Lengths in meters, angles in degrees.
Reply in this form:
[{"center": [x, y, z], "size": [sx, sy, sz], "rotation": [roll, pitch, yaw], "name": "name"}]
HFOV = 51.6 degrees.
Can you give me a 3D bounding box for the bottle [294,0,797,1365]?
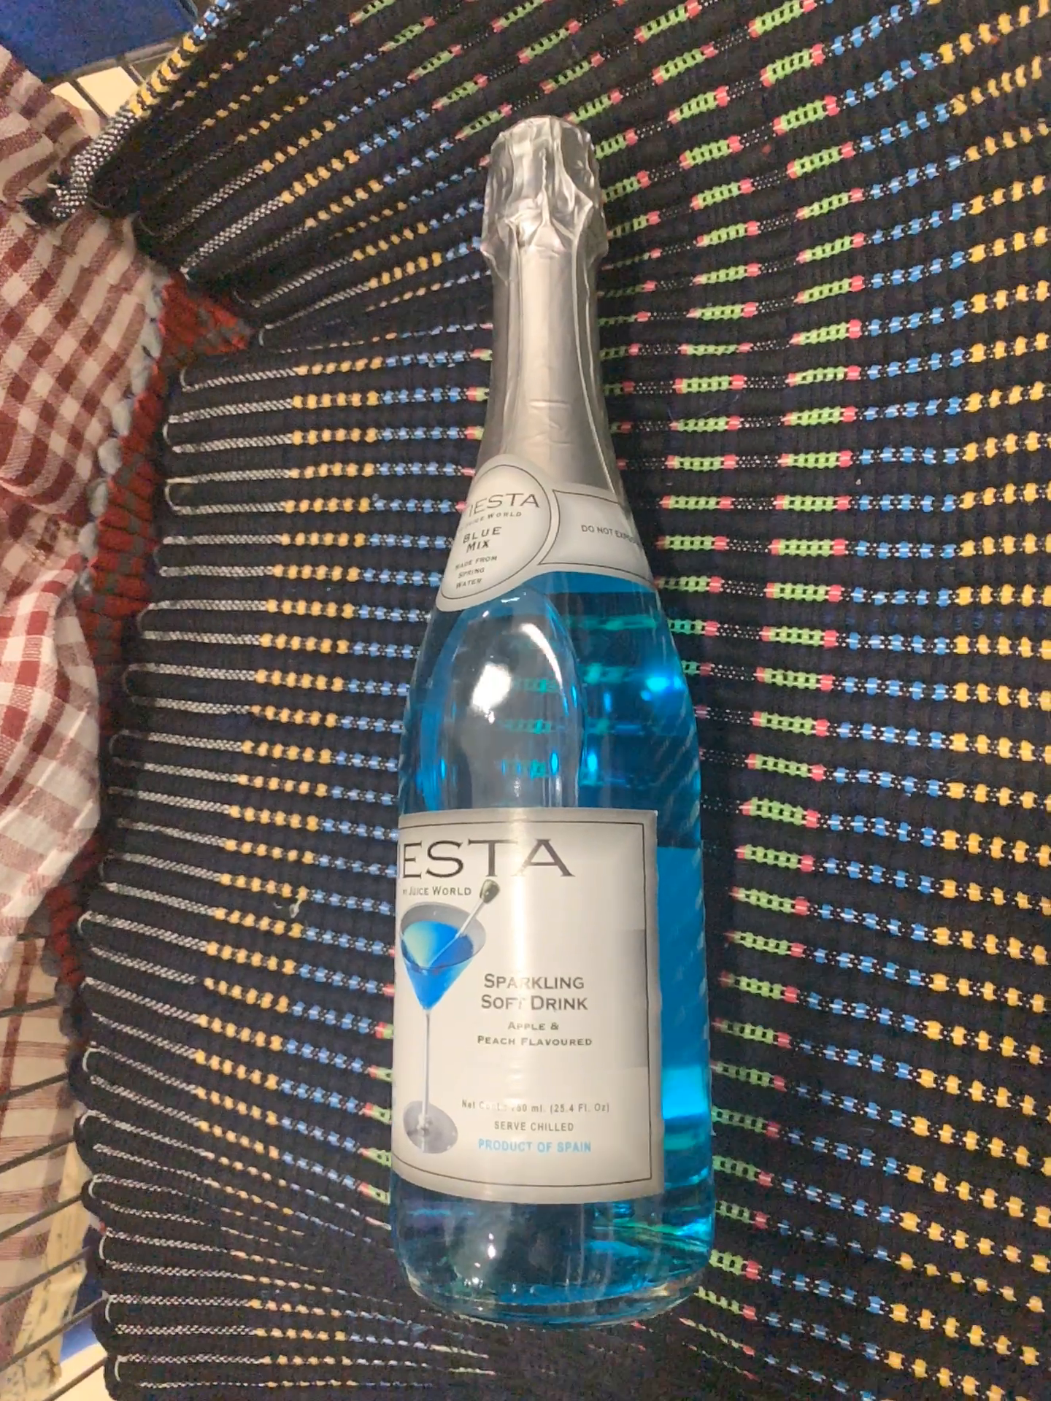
[{"center": [0.009, -0.011, 0.303], "size": [0.080, 0.100, 0.310], "rotation": [-9, 75, 42], "name": "bottle"}]
